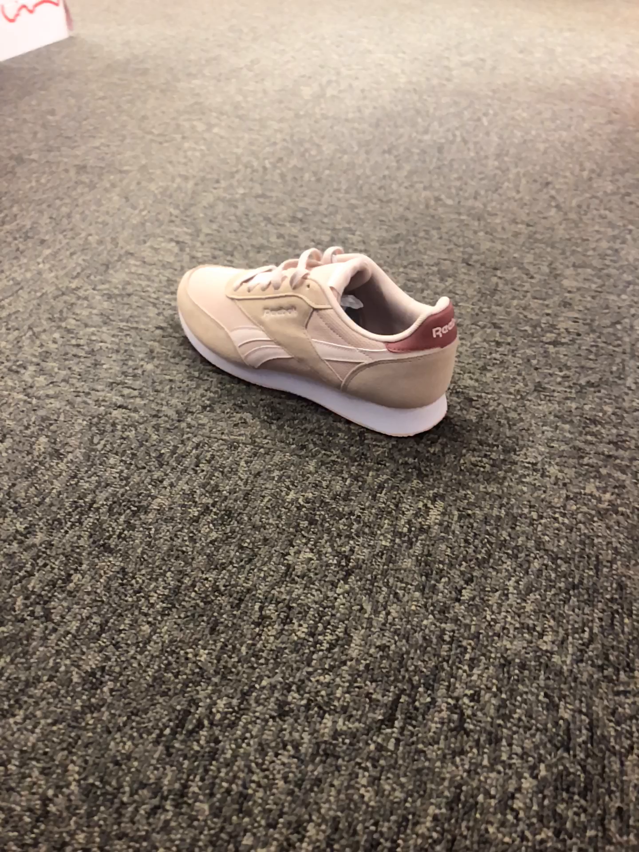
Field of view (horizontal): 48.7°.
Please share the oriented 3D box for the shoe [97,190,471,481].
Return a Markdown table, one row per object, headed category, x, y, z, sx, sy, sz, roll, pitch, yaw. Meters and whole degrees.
| category | x | y | z | sx | sy | sz | roll | pitch | yaw |
| --- | --- | --- | --- | --- | --- | --- | --- | --- | --- |
| shoe | -0.035 | -0.083 | 0.541 | 0.270 | 0.109 | 0.101 | 27 | 46 | 30 |
